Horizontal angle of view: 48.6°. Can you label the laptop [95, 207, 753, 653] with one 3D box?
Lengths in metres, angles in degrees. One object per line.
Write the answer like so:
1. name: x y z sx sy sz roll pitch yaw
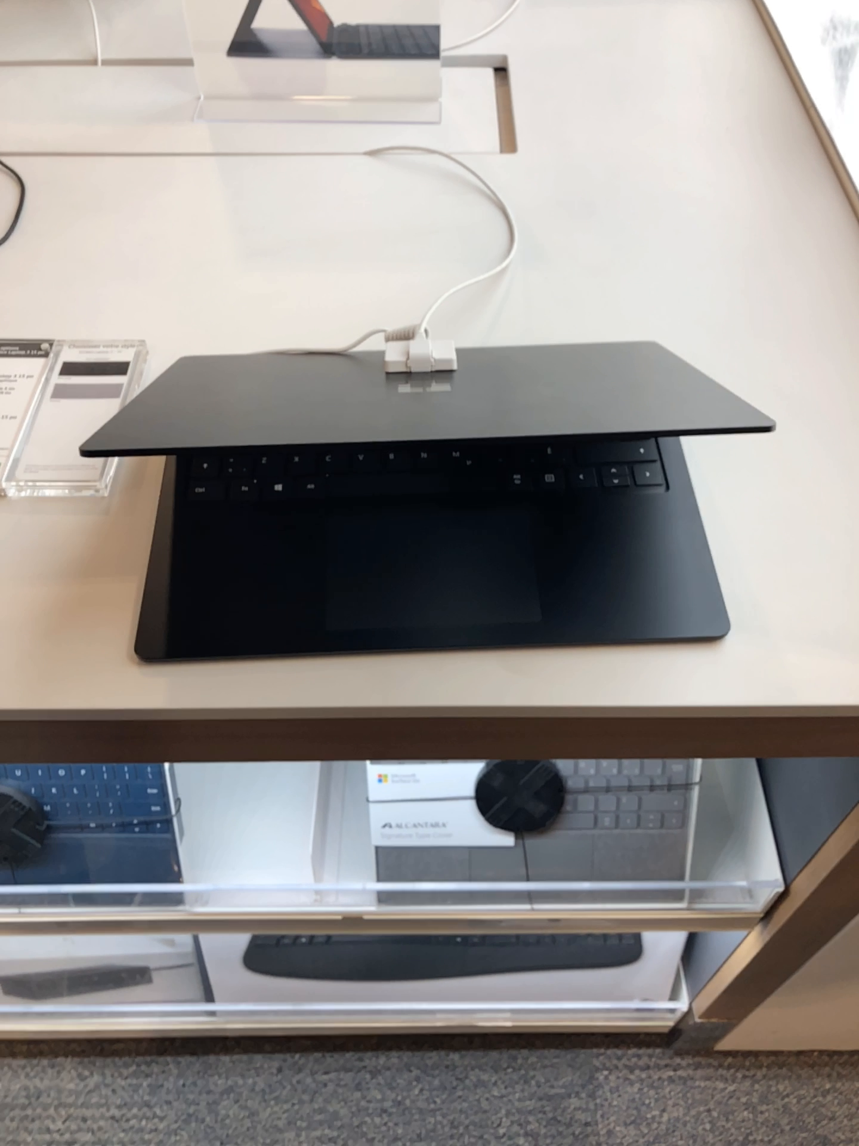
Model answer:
1. laptop: -0.003 -0.078 0.489 0.284 0.086 0.191 -3 60 -3
